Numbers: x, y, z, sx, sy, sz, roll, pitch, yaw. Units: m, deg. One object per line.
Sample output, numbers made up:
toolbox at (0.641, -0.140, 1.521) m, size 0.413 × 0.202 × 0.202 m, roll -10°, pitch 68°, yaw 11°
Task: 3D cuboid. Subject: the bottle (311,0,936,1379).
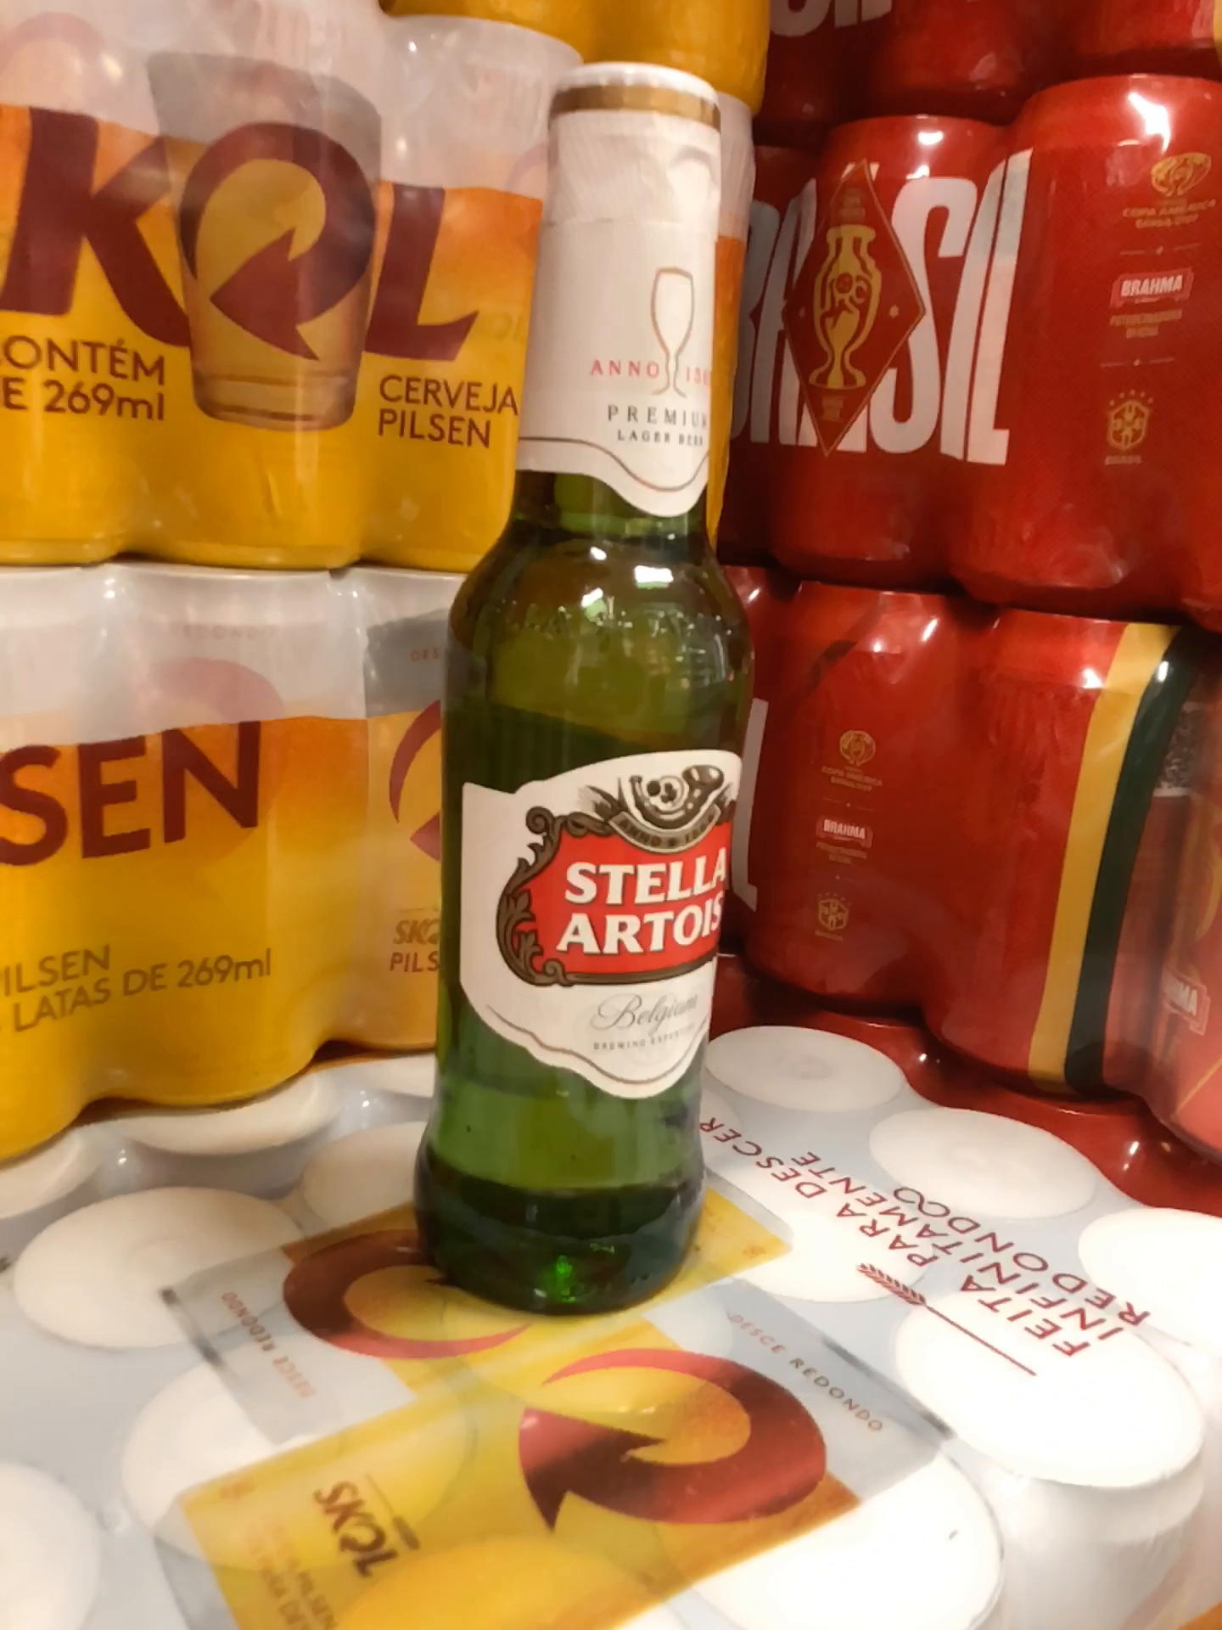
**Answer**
bottle at (-0.004, -0.021, 0.245) m, size 0.070 × 0.219 × 0.060 m, roll -7°, pitch 20°, yaw -39°
